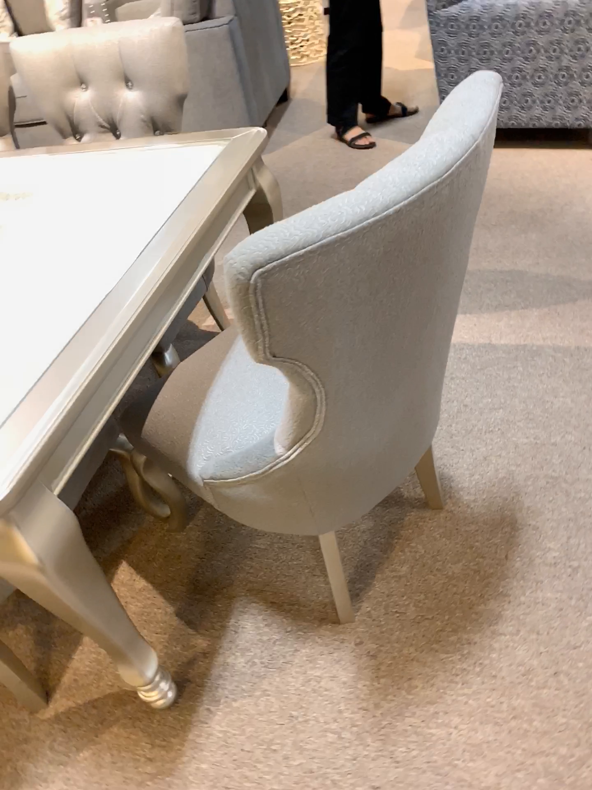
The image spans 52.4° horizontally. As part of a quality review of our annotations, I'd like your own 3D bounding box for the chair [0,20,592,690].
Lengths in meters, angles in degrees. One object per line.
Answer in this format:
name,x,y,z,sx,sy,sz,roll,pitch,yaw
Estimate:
chair,0.019,-0.090,1.122,0.683,0.915,0.581,25,54,34
